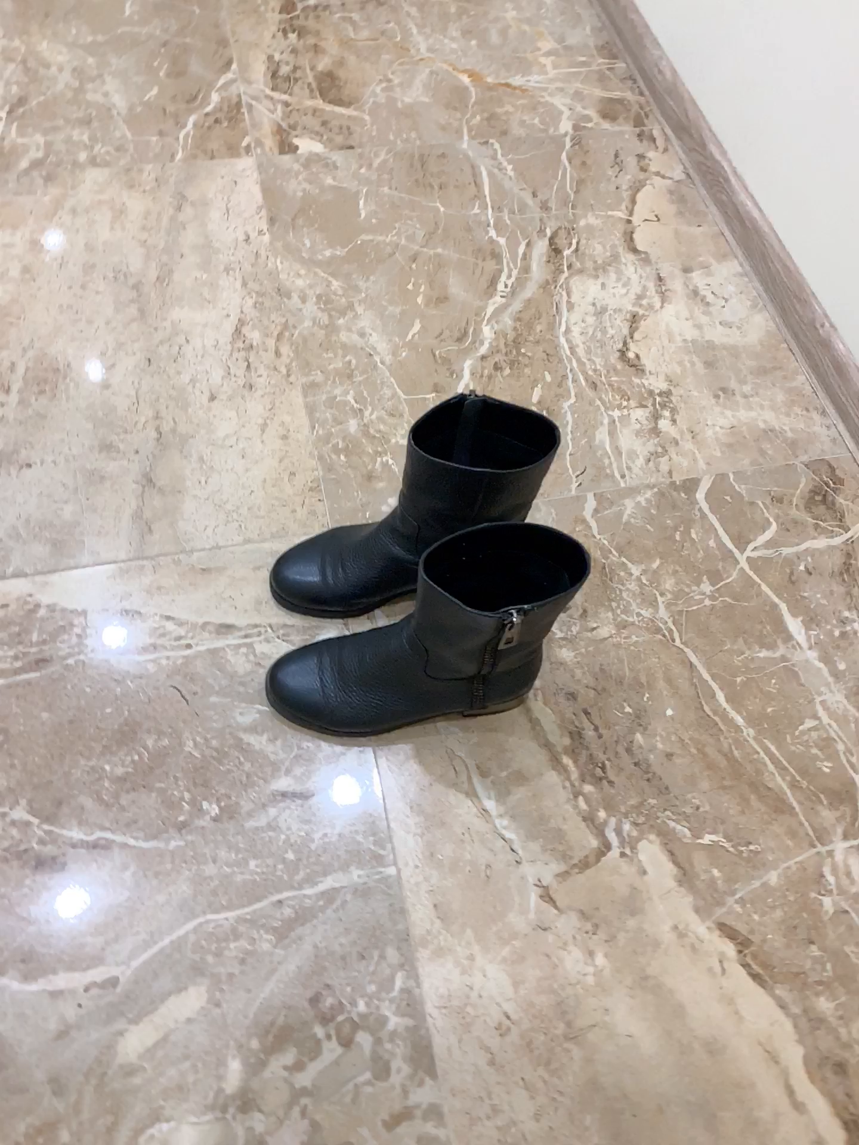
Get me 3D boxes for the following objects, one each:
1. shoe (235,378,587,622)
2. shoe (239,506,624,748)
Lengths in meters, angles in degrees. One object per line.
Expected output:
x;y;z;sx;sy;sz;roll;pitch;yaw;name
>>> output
-0.022;-0.056;0.758;0.260;0.209;0.090;-4;60;-7;shoe
-0.007;0.051;0.701;0.260;0.209;0.090;-4;60;-7;shoe
